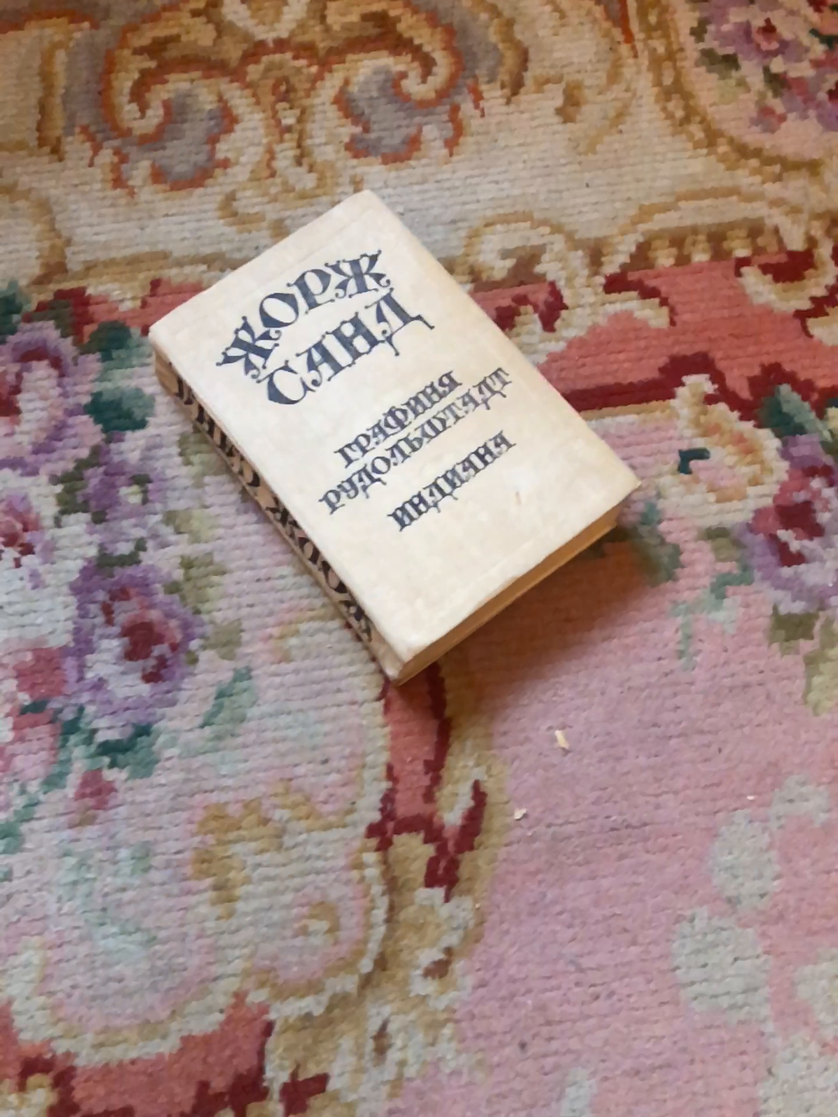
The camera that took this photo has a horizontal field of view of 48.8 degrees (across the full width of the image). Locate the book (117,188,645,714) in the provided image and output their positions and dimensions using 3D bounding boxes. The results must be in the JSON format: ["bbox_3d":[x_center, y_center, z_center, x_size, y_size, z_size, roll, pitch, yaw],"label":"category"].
[{"bbox_3d":[-0.022,-0.059,0.467,0.150,0.057,0.220,-36,74,-11],"label":"book"}]
